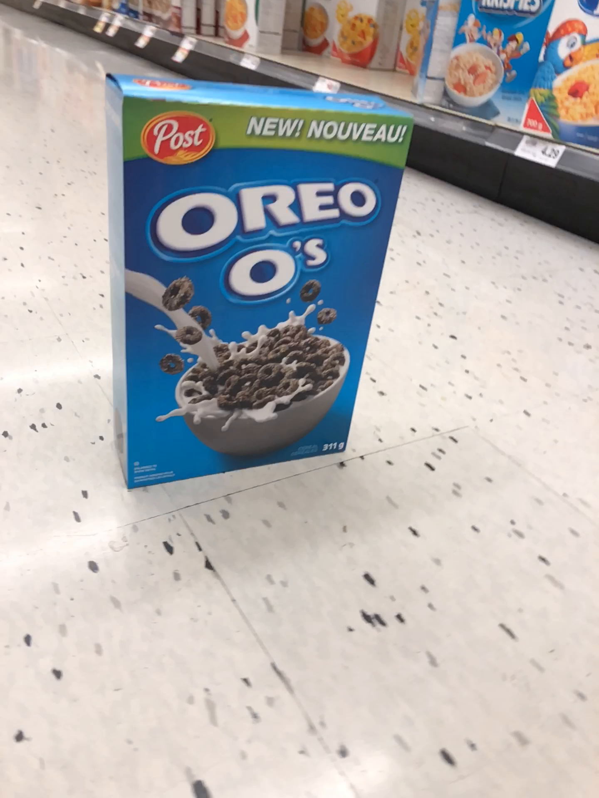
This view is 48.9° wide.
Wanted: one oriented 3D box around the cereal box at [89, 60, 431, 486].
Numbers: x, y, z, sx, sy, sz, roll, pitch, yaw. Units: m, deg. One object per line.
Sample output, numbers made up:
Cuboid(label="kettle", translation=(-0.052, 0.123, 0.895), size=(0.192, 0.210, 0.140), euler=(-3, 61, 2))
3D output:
Cuboid(label="cereal box", translation=(-0.036, -0.078, 0.468), size=(0.200, 0.268, 0.060), euler=(-7, 34, -23))
